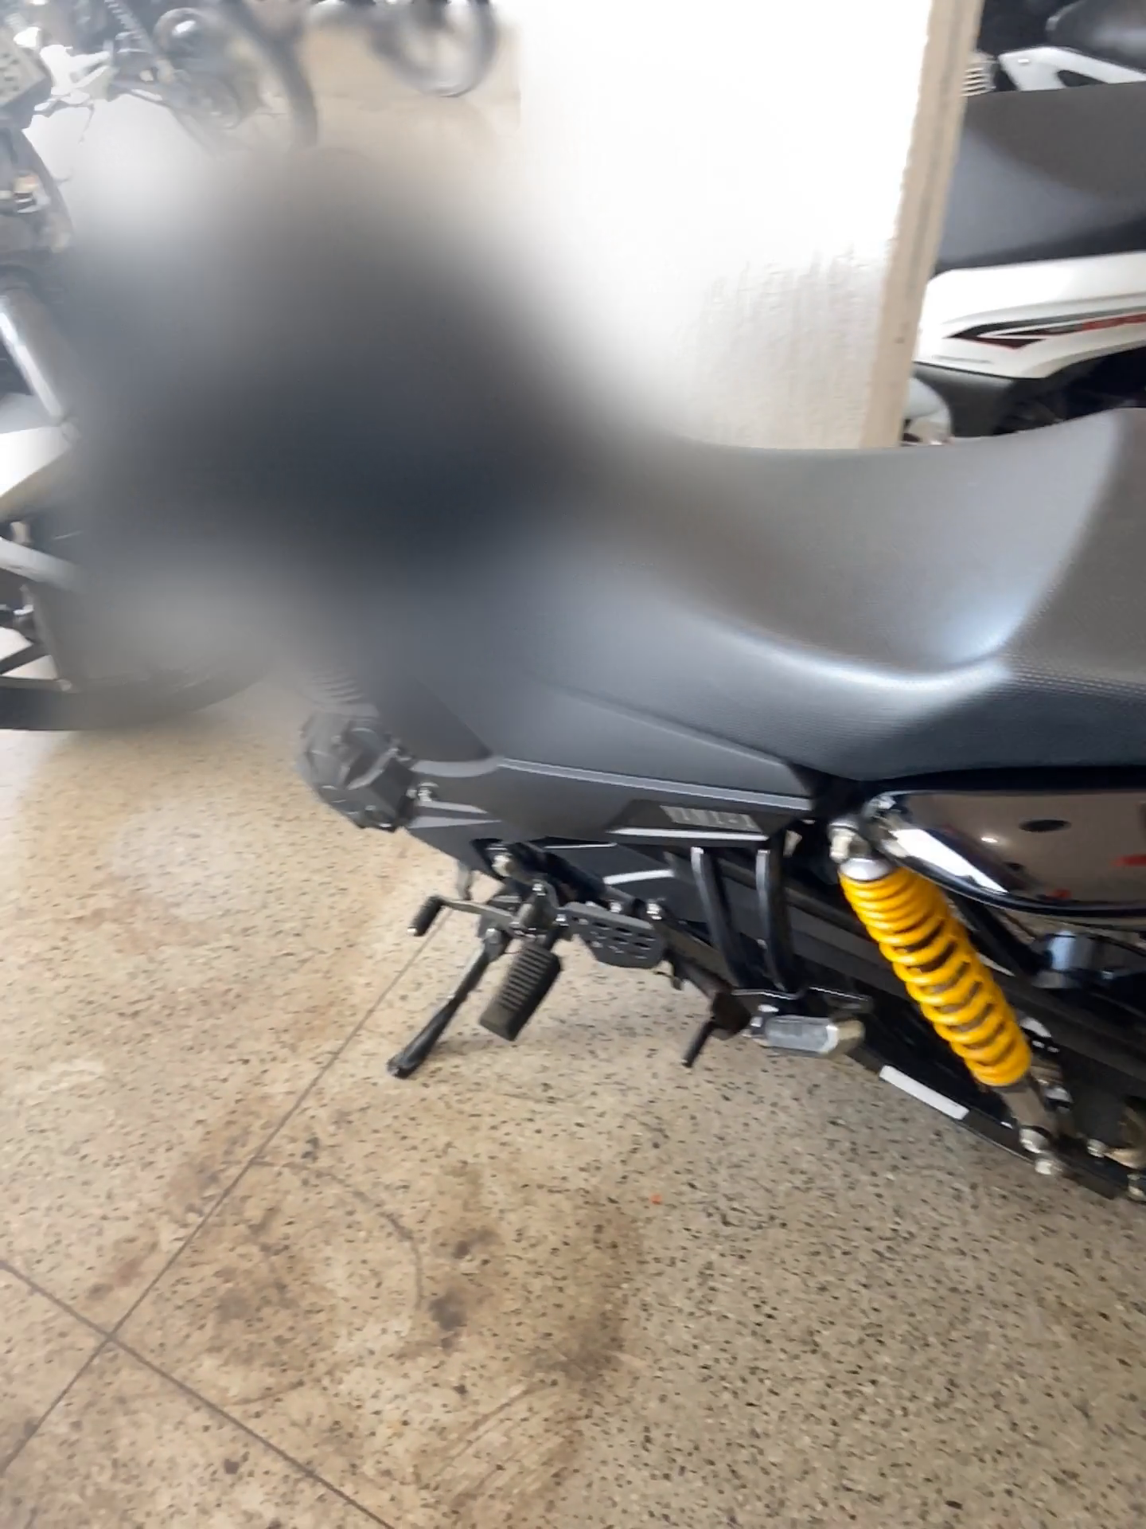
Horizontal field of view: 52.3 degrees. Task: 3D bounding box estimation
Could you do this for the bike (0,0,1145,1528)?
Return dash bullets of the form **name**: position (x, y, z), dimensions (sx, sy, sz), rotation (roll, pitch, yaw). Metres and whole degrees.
- **bike**: position (-0.113, 0.012, 1.011), dimensions (2.003, 1.331, 0.819), rotation (15, 45, 18)
